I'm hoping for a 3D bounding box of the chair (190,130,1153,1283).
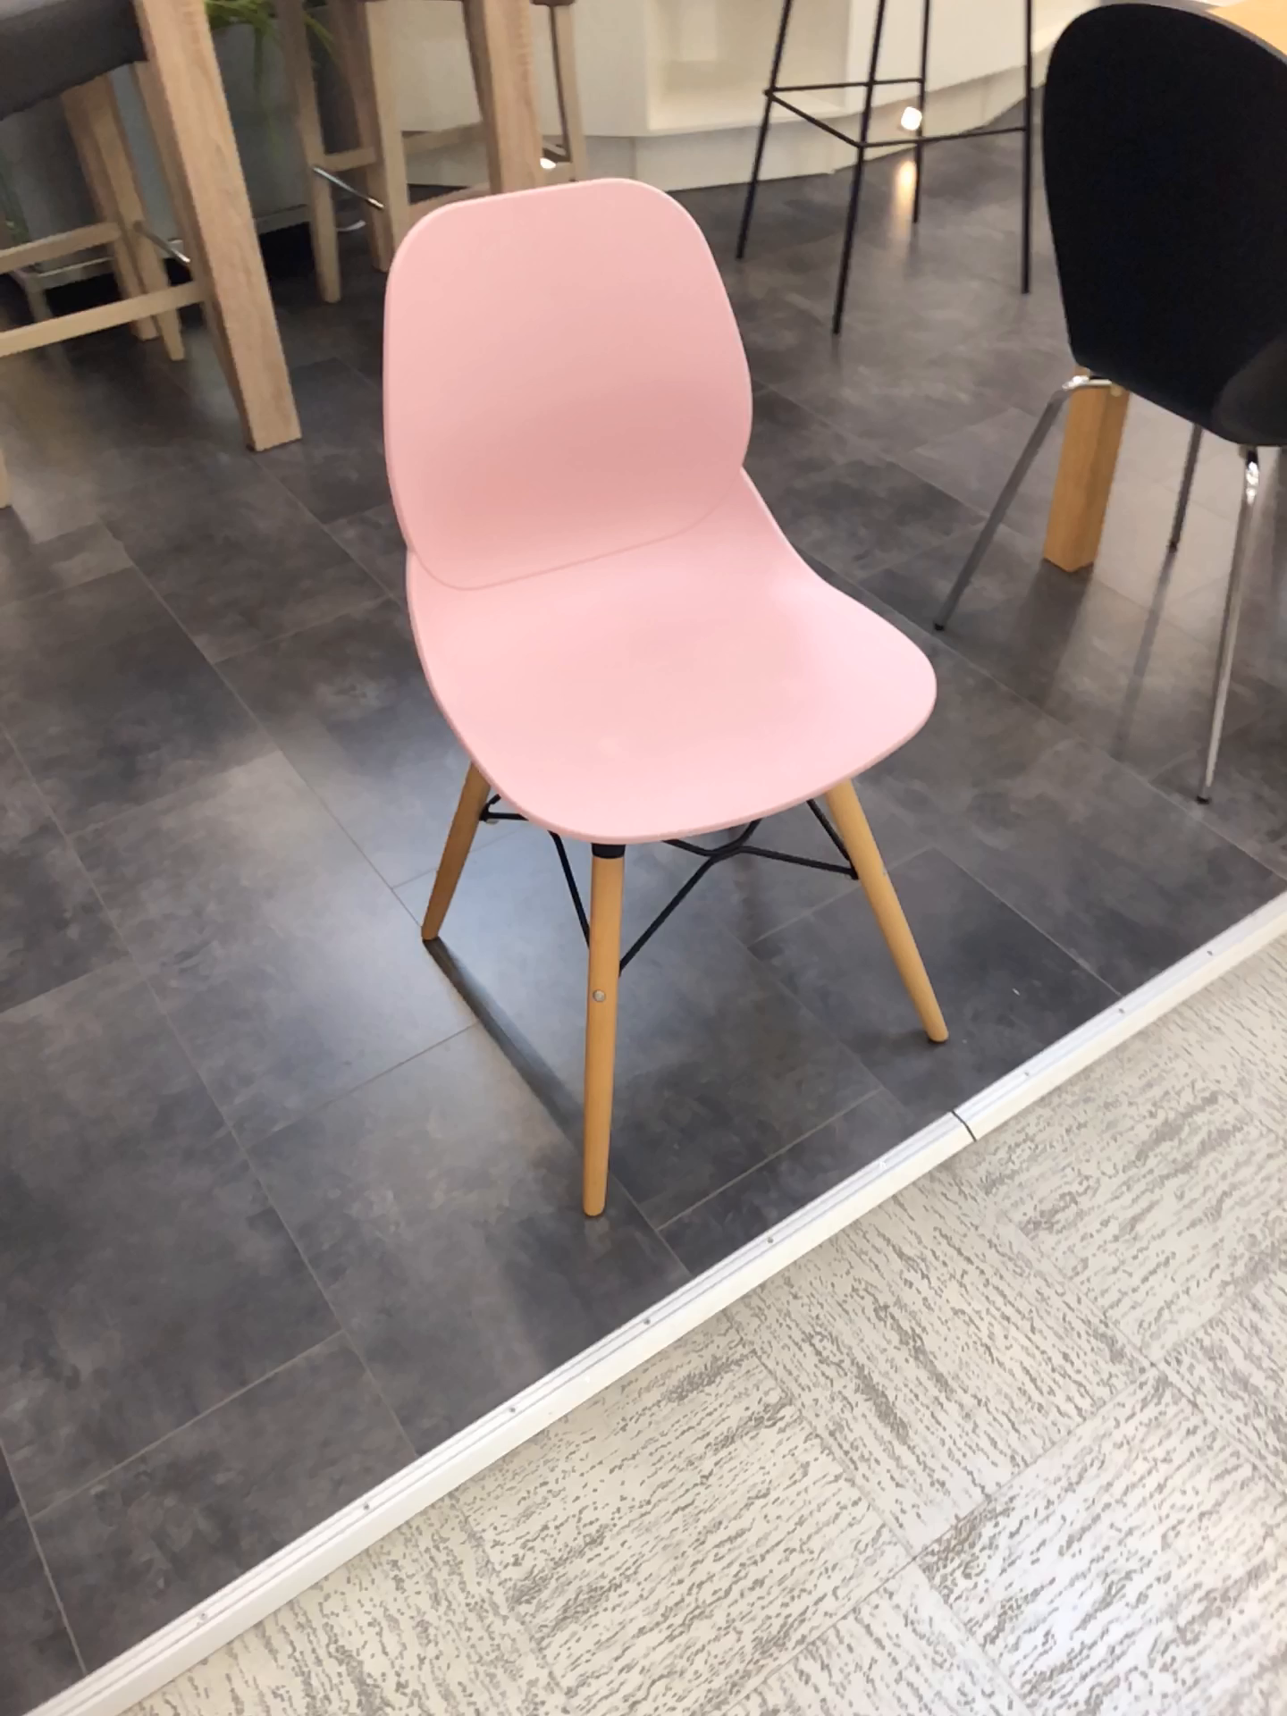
[{"bbox_3d":[0.004,-0.140,1.393,0.553,0.847,0.551,-22,48,-20],"label":"chair"}]
